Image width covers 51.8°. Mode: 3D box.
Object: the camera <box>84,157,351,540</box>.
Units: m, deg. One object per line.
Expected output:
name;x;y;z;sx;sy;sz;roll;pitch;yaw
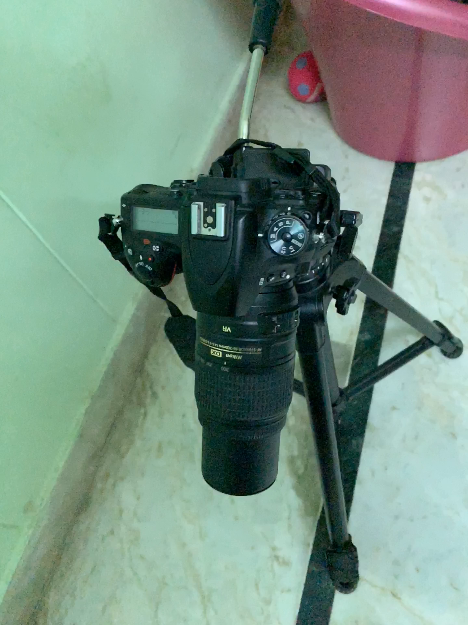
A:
camera;-0.008;0.009;0.333;0.130;0.214;0.116;10;19;22
